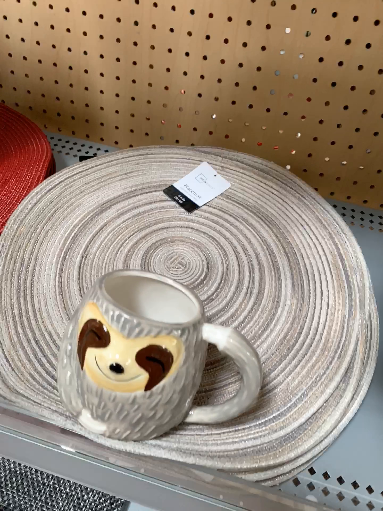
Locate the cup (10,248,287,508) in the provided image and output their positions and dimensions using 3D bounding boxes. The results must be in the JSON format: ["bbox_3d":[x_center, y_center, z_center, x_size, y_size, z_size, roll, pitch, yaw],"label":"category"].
[{"bbox_3d":[-0.024,0.074,0.279,0.150,0.089,0.106,17,22,3],"label":"cup"}]
